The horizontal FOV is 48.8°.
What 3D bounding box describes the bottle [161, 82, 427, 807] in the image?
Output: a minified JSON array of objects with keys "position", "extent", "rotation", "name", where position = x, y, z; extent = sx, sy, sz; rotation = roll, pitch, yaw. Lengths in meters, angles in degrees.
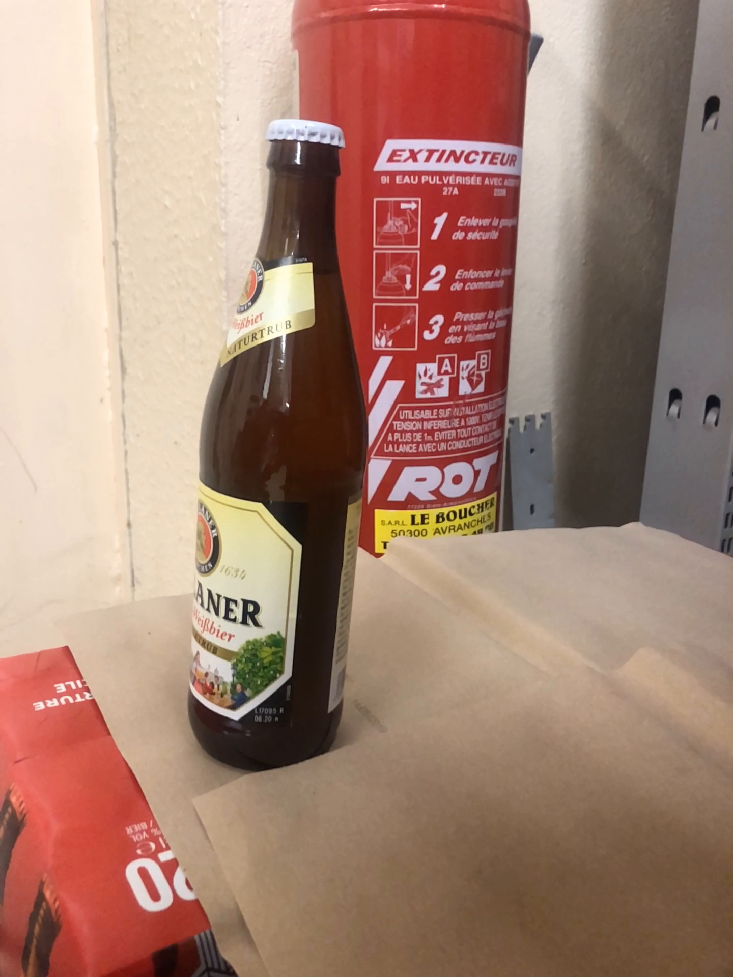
[{"position":[-0.035,-0.012,0.308],"extent":[0.080,0.239,0.080],"rotation":[2,15,-1],"name":"bottle"}]
